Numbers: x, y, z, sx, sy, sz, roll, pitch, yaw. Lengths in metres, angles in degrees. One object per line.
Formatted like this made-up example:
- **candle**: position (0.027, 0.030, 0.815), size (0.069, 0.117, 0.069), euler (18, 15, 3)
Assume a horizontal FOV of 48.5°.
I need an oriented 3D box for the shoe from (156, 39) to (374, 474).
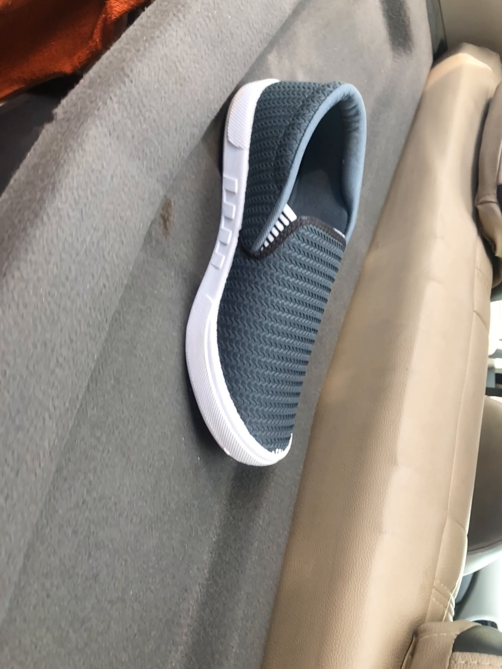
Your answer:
- **shoe**: position (0.018, -0.052, 0.395), size (0.081, 0.089, 0.280), euler (30, 65, -58)
